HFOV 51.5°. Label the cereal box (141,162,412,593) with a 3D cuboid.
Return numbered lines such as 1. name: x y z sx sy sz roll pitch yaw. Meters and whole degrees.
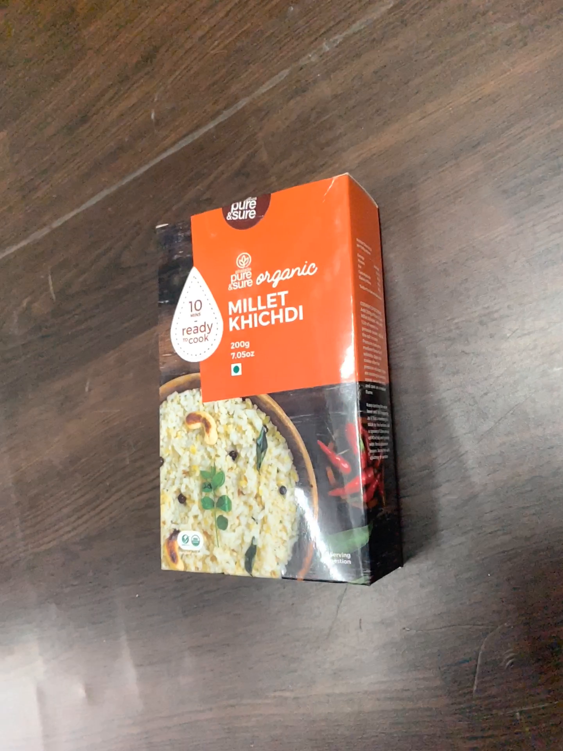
1. cereal box: -0.007 0.004 0.259 0.110 0.040 0.160 -6 81 30
